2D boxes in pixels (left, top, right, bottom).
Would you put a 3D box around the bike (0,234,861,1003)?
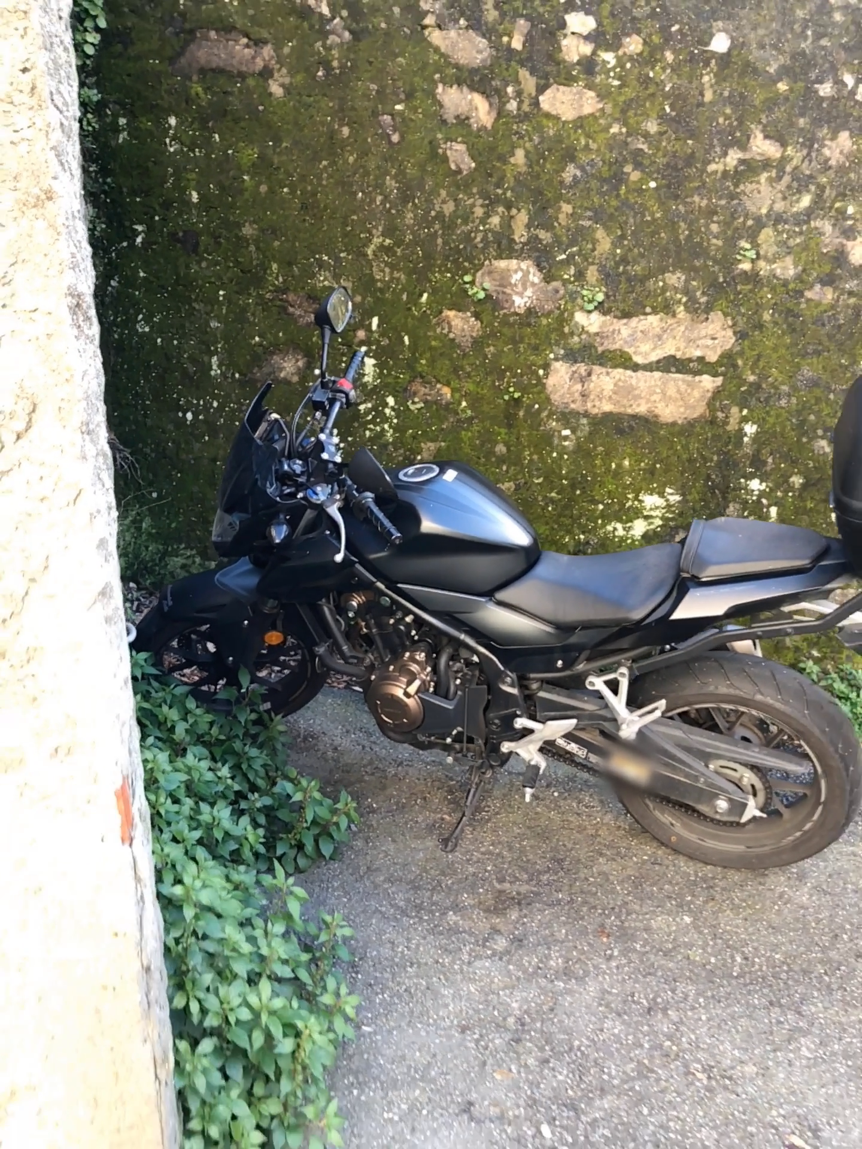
[{"bbox_3d":[0.028,0.021,2.174,1.783,1.199,0.714,9,18,7],"label":"bike"}]
